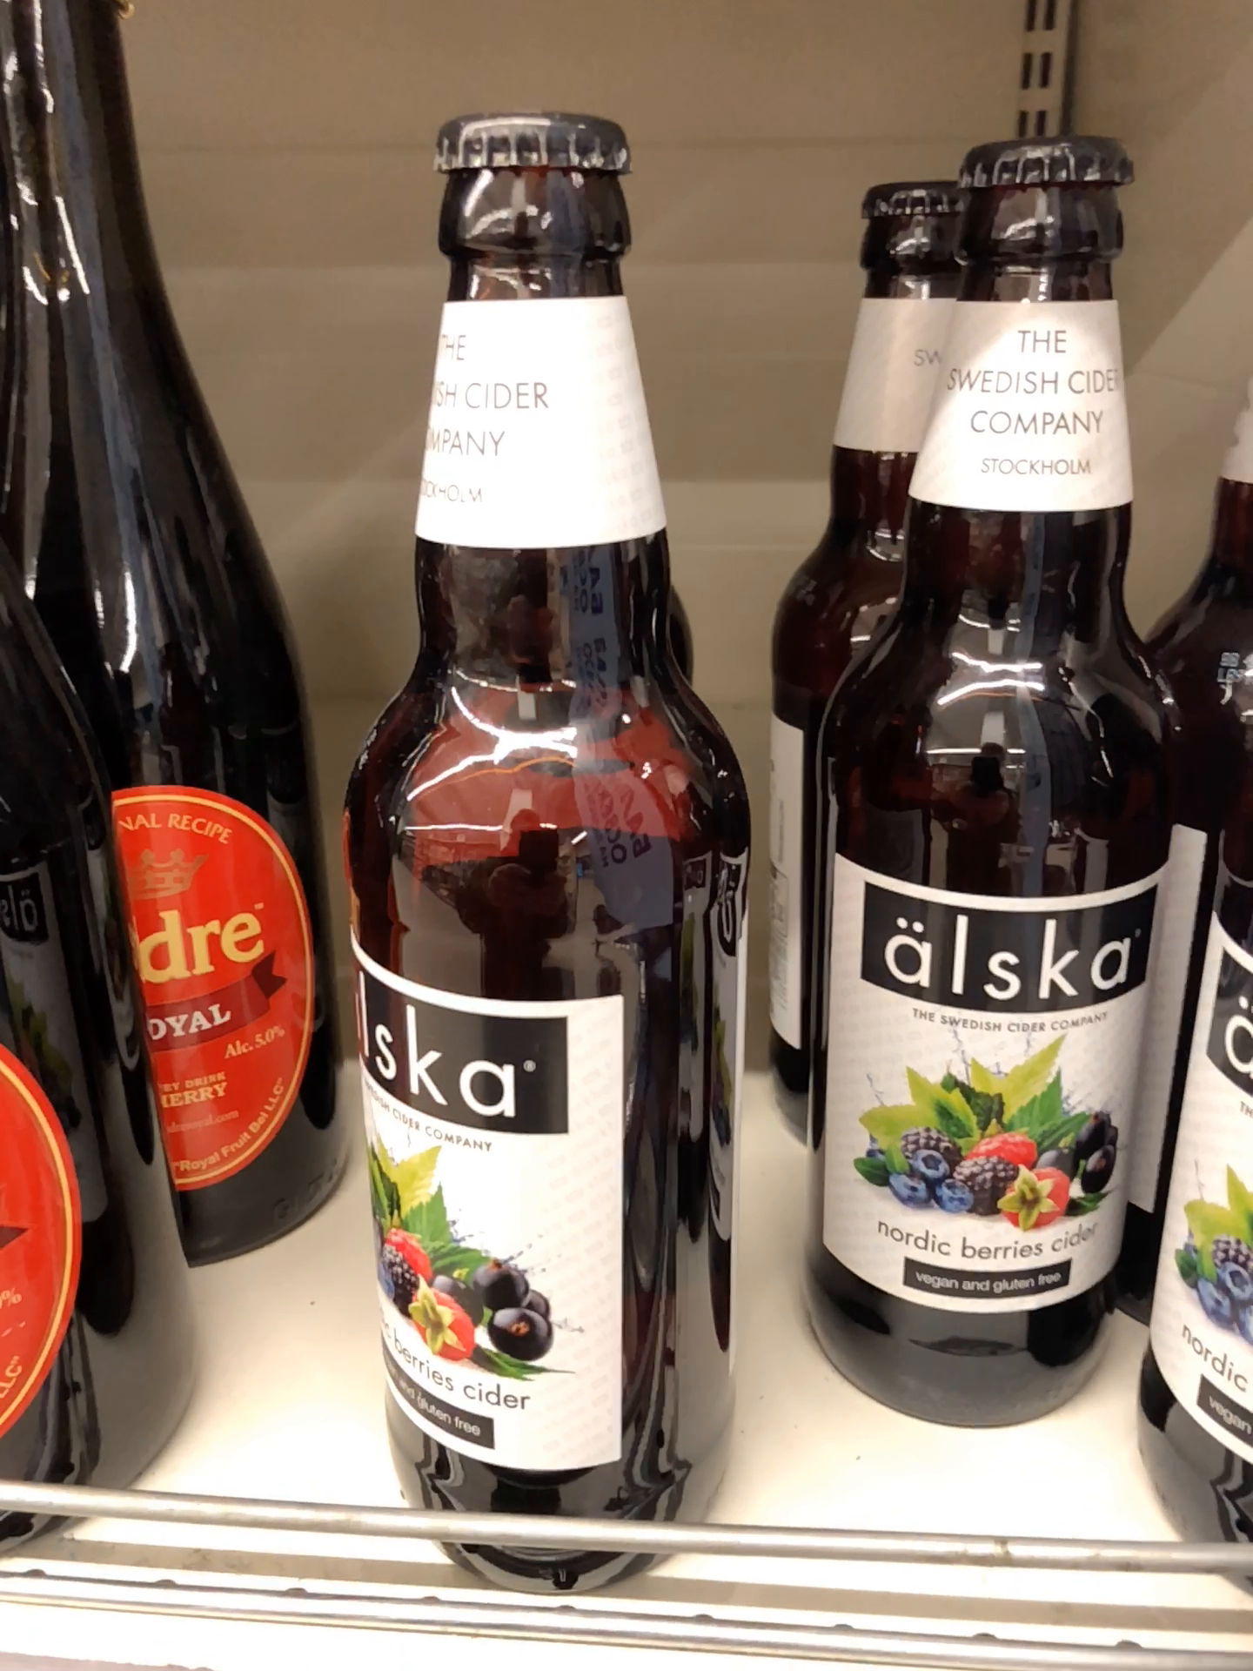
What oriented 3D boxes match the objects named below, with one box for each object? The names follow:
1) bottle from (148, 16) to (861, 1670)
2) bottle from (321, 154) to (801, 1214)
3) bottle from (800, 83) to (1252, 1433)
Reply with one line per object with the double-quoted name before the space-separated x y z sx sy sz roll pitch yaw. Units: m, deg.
"bottle" -0.015 0.009 0.222 0.070 0.229 0.063 18 28 41
"bottle" -0.012 -0.036 0.351 0.075 0.235 0.077 -1 21 0
"bottle" 0.077 -0.005 0.271 0.070 0.244 0.063 -2 21 -2
